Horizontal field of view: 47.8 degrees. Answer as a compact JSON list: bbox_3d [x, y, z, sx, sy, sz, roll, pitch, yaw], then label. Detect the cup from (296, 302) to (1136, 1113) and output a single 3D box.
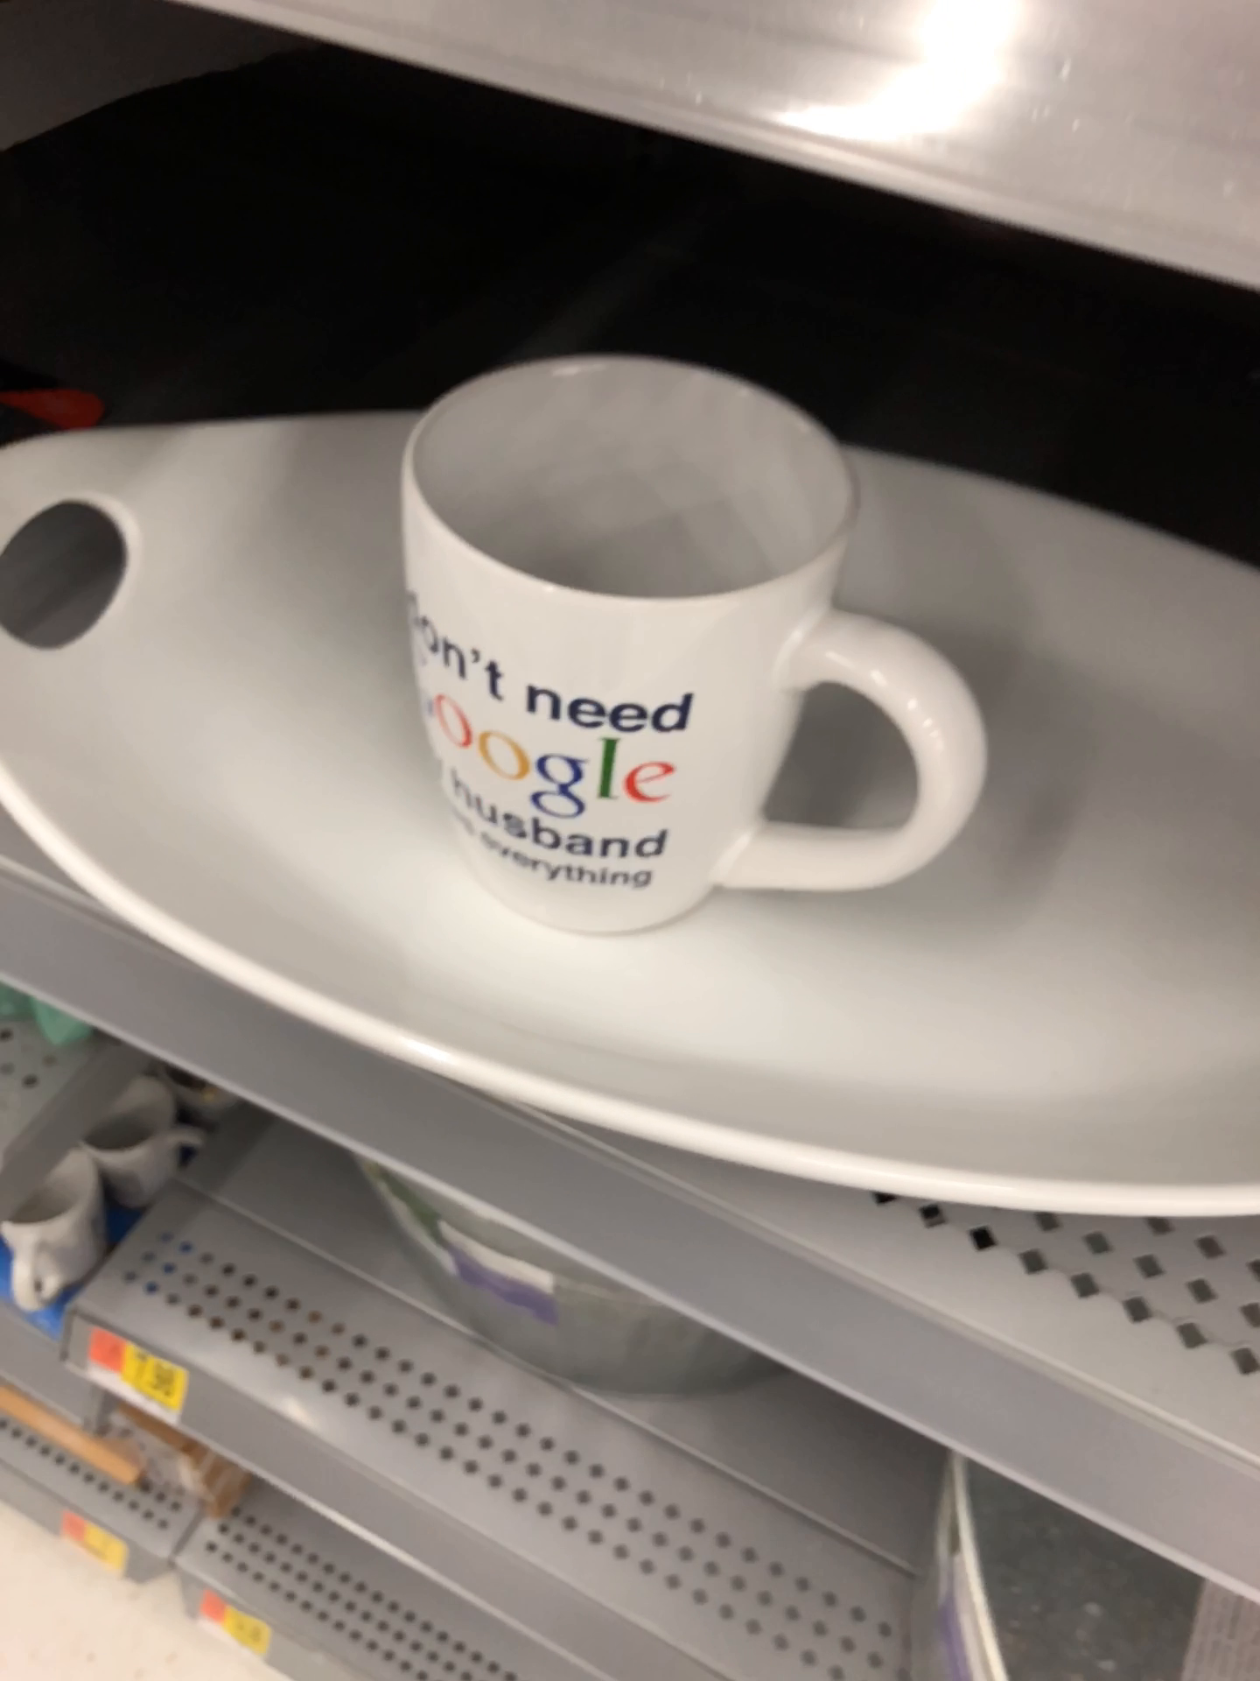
[{"bbox_3d":[0.016,-0.038,0.353,0.154,0.108,0.104,30,51,20],"label":"cup"}]
